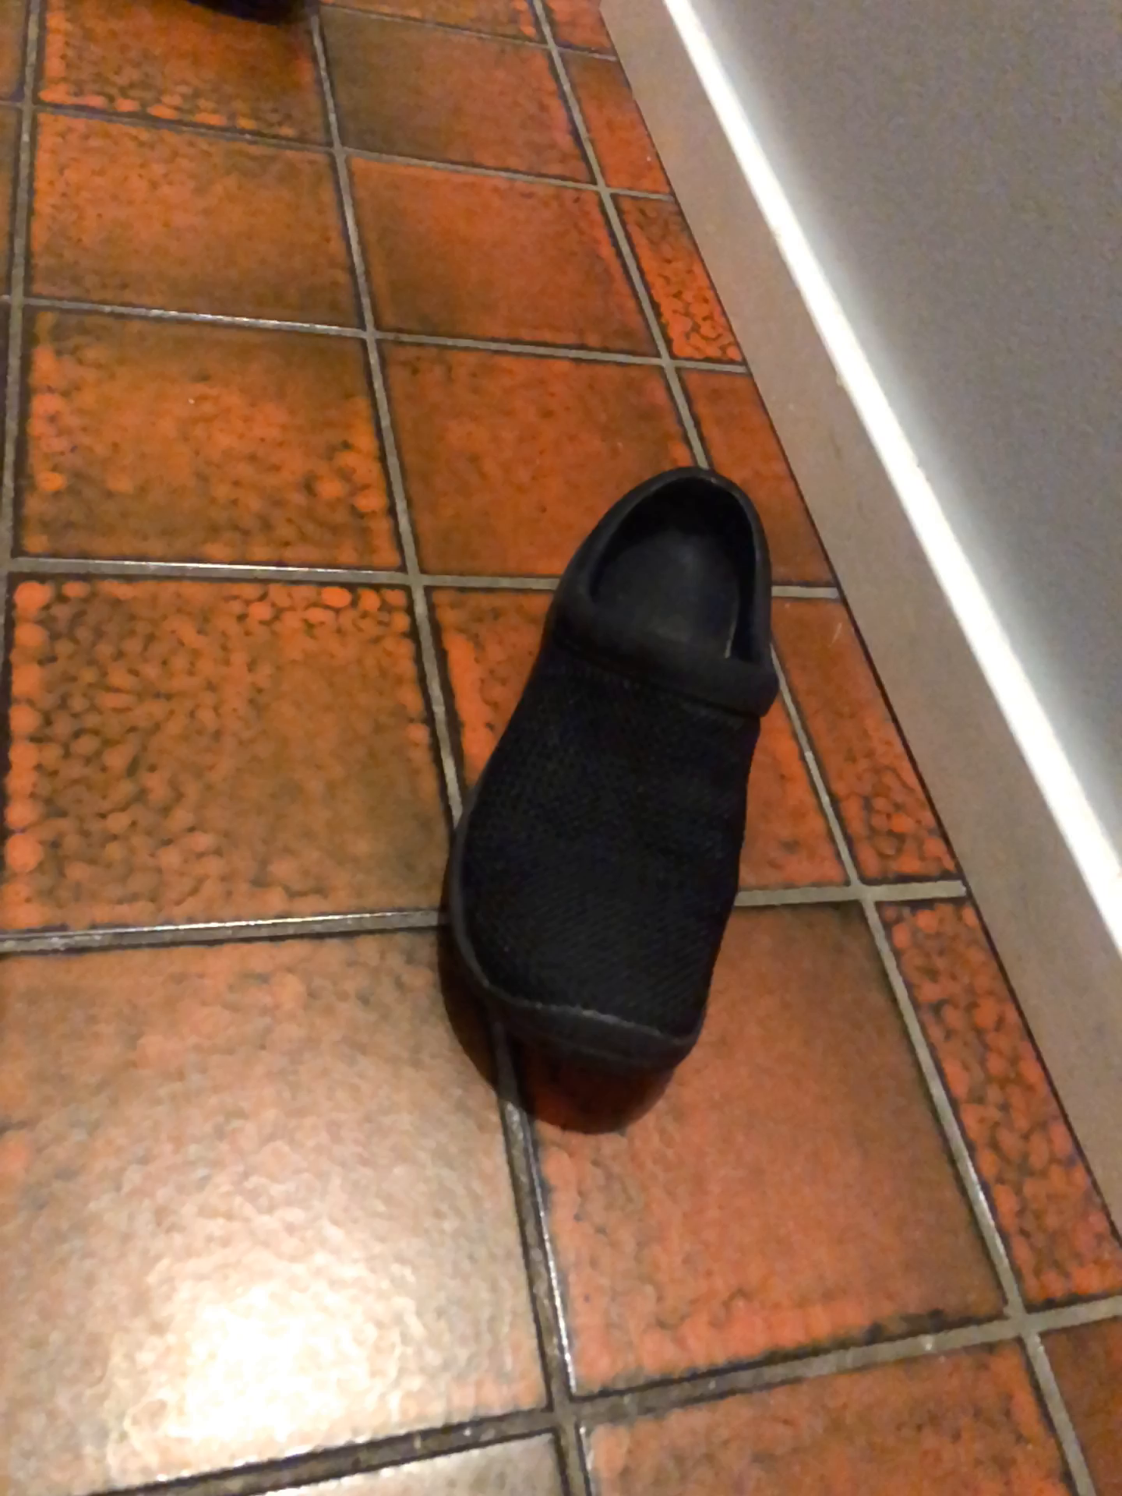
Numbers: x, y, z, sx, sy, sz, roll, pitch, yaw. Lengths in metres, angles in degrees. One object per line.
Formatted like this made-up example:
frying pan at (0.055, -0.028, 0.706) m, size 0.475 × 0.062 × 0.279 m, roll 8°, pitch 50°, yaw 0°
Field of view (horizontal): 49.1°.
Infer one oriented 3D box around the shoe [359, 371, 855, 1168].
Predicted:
shoe at (0.026, -0.007, 0.414) m, size 0.100 × 0.080 × 0.251 m, roll 20°, pitch 51°, yaw -4°
